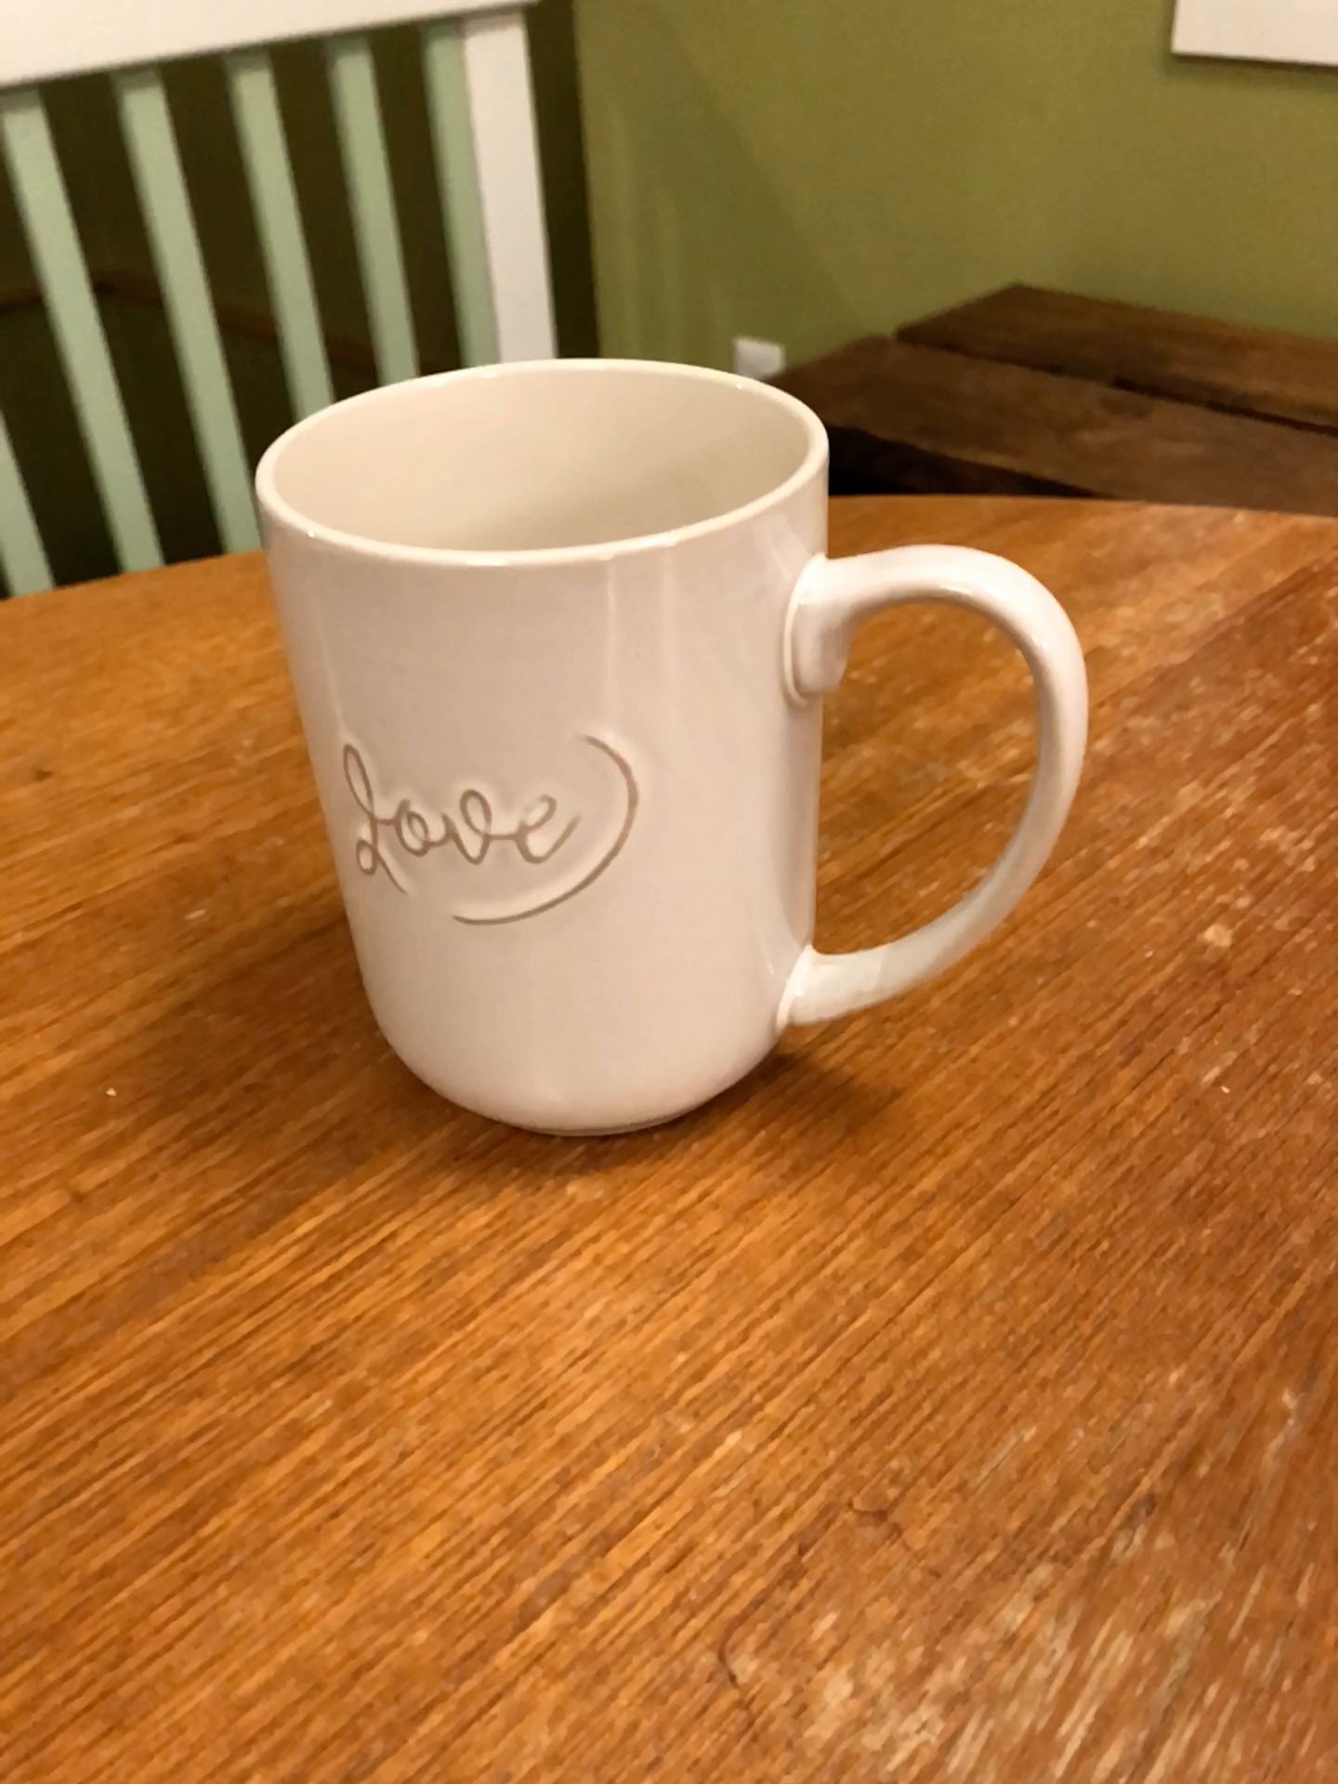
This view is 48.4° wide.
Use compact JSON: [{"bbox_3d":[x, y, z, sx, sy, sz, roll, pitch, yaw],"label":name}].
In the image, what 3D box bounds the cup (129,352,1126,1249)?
[{"bbox_3d":[0.002,-0.020,0.268,0.134,0.123,0.092,4,36,10],"label":"cup"}]
